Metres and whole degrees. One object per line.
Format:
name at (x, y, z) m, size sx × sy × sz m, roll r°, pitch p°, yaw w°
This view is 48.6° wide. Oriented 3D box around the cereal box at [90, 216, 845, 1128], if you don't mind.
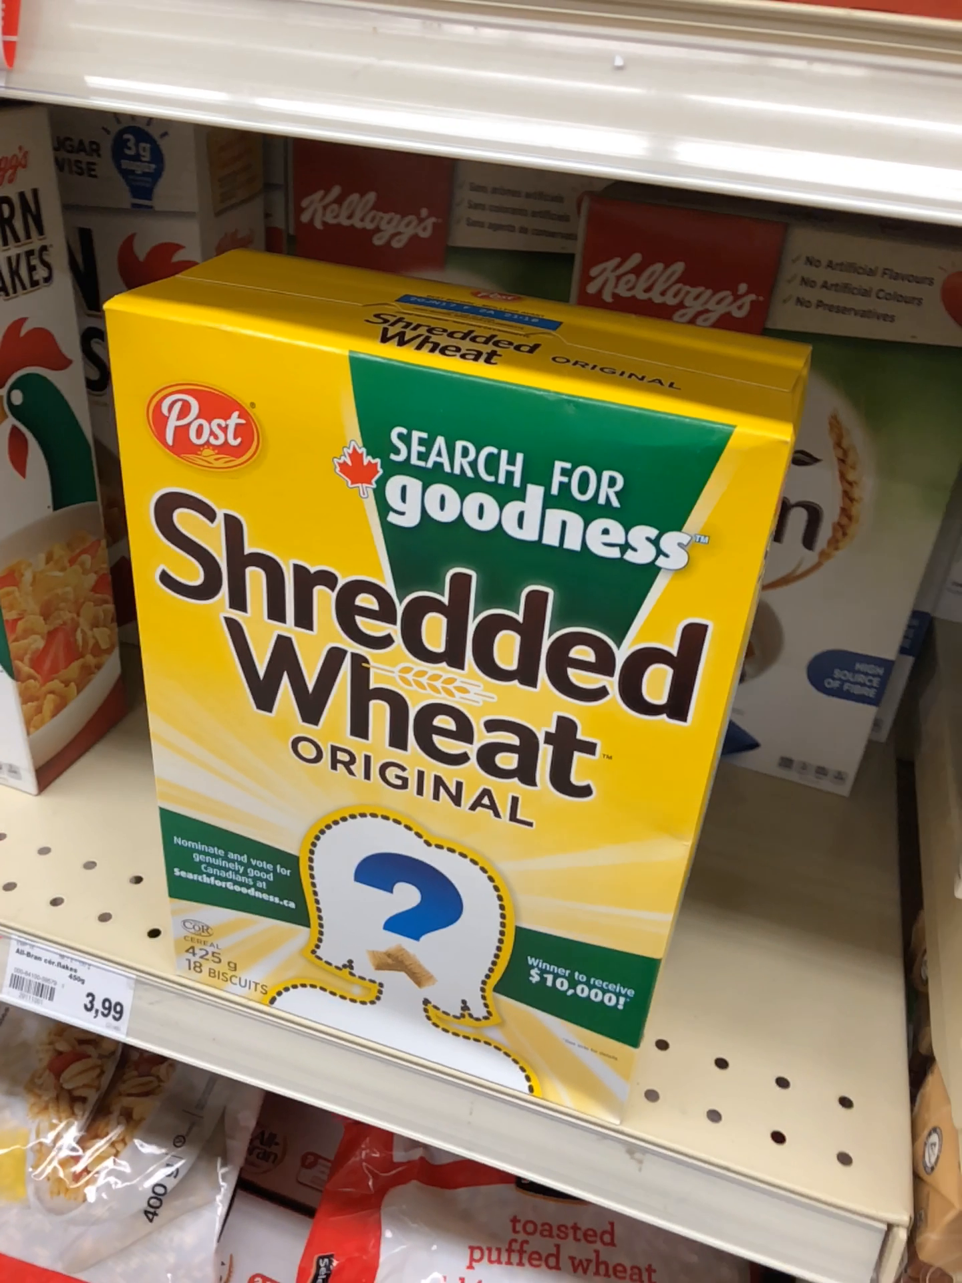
cereal box at (-0.010, 0.020, 0.380) m, size 0.200 × 0.288 × 0.081 m, roll 13°, pitch 33°, yaw 13°
